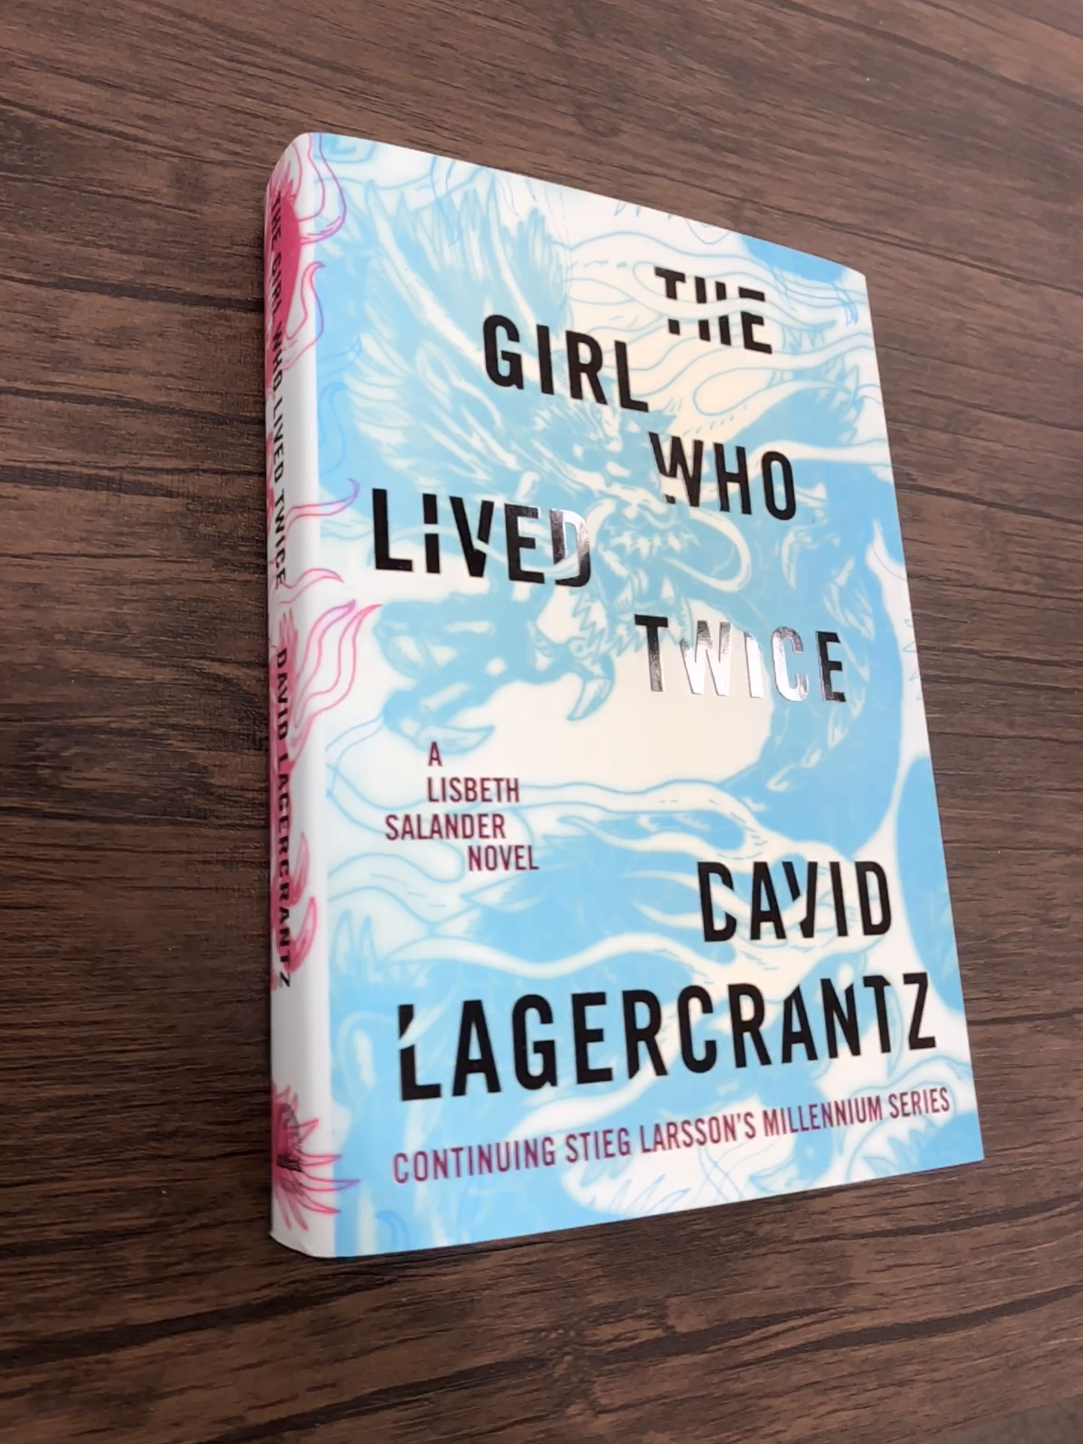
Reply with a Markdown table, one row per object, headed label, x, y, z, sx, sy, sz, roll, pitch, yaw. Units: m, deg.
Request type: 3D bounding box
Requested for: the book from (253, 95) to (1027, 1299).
| label | x | y | z | sx | sy | sz | roll | pitch | yaw |
| --- | --- | --- | --- | --- | --- | --- | --- | --- | --- |
| book | 0.021 | -0.009 | 0.287 | 0.171 | 0.040 | 0.240 | 3 | 76 | -26 |
